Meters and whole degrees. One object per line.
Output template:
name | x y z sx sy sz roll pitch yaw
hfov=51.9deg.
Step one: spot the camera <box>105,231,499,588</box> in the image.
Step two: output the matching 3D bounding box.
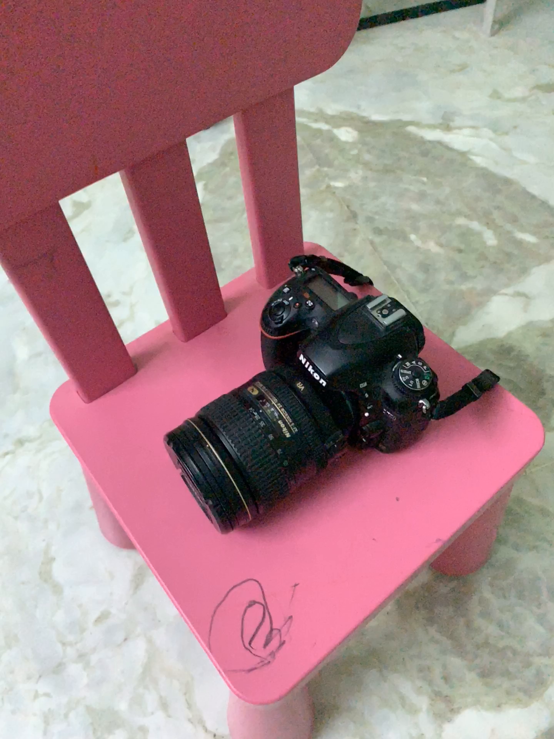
camera | 0.017 0.018 0.397 0.210 0.080 0.140 -33 63 -18
